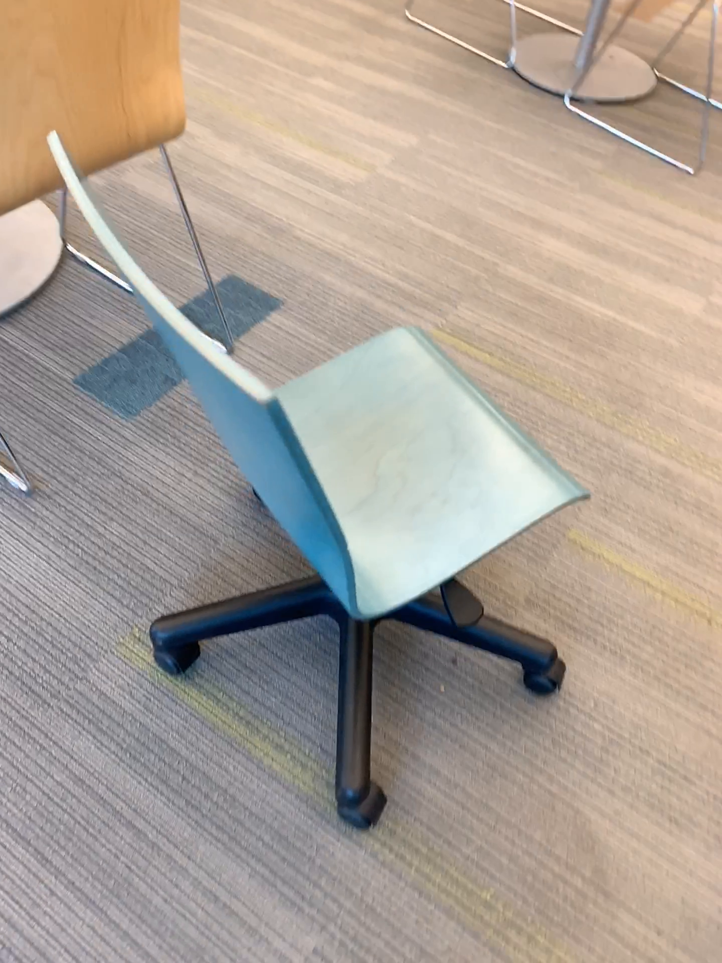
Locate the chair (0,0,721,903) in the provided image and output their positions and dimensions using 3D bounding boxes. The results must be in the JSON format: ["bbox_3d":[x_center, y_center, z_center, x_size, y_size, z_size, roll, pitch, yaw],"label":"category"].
[{"bbox_3d":[0.026,-0.049,0.862,0.611,0.668,0.601,-27,58,-25],"label":"chair"}]
